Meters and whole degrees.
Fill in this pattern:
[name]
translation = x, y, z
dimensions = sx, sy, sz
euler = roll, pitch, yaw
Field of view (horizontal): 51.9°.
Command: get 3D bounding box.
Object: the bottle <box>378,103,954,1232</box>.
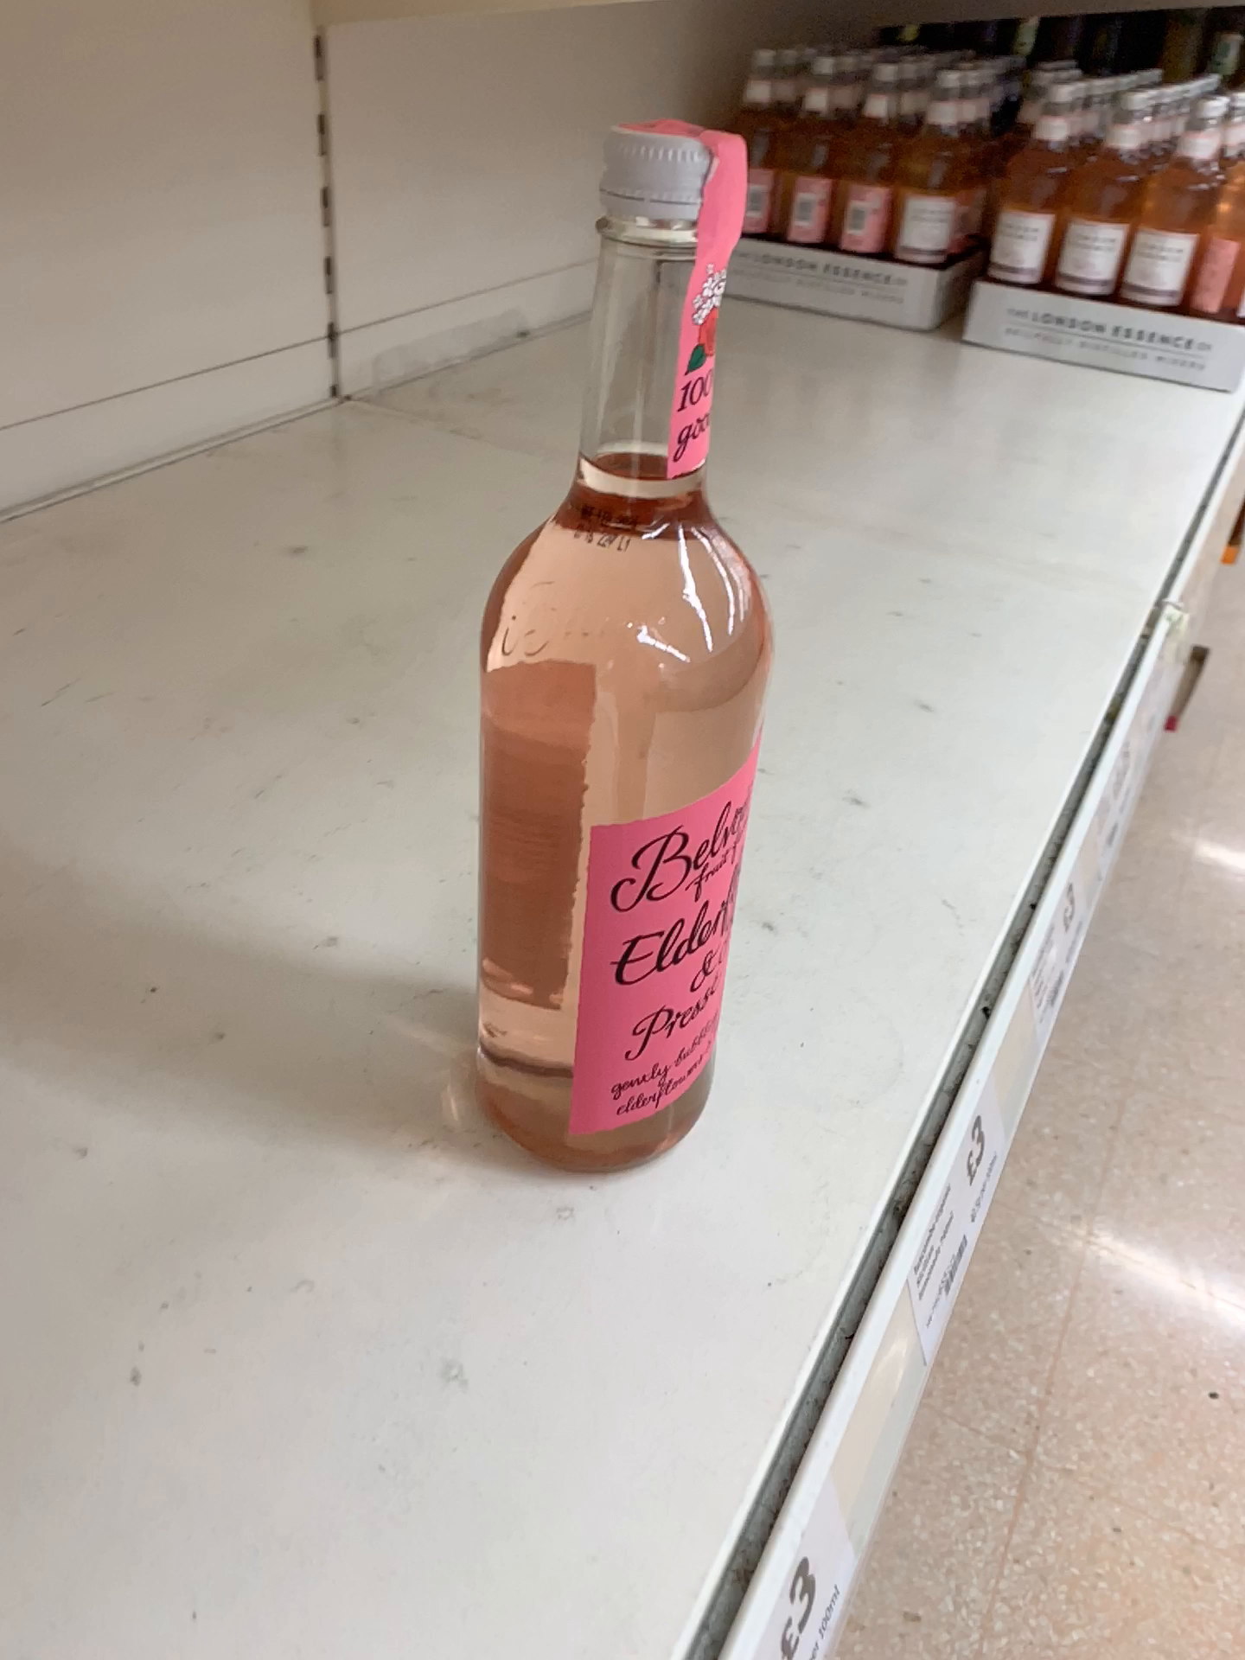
[bottle]
translation = 0.000, -0.033, 0.344
dimensions = 0.086, 0.274, 0.087
euler = 4, 33, -2
